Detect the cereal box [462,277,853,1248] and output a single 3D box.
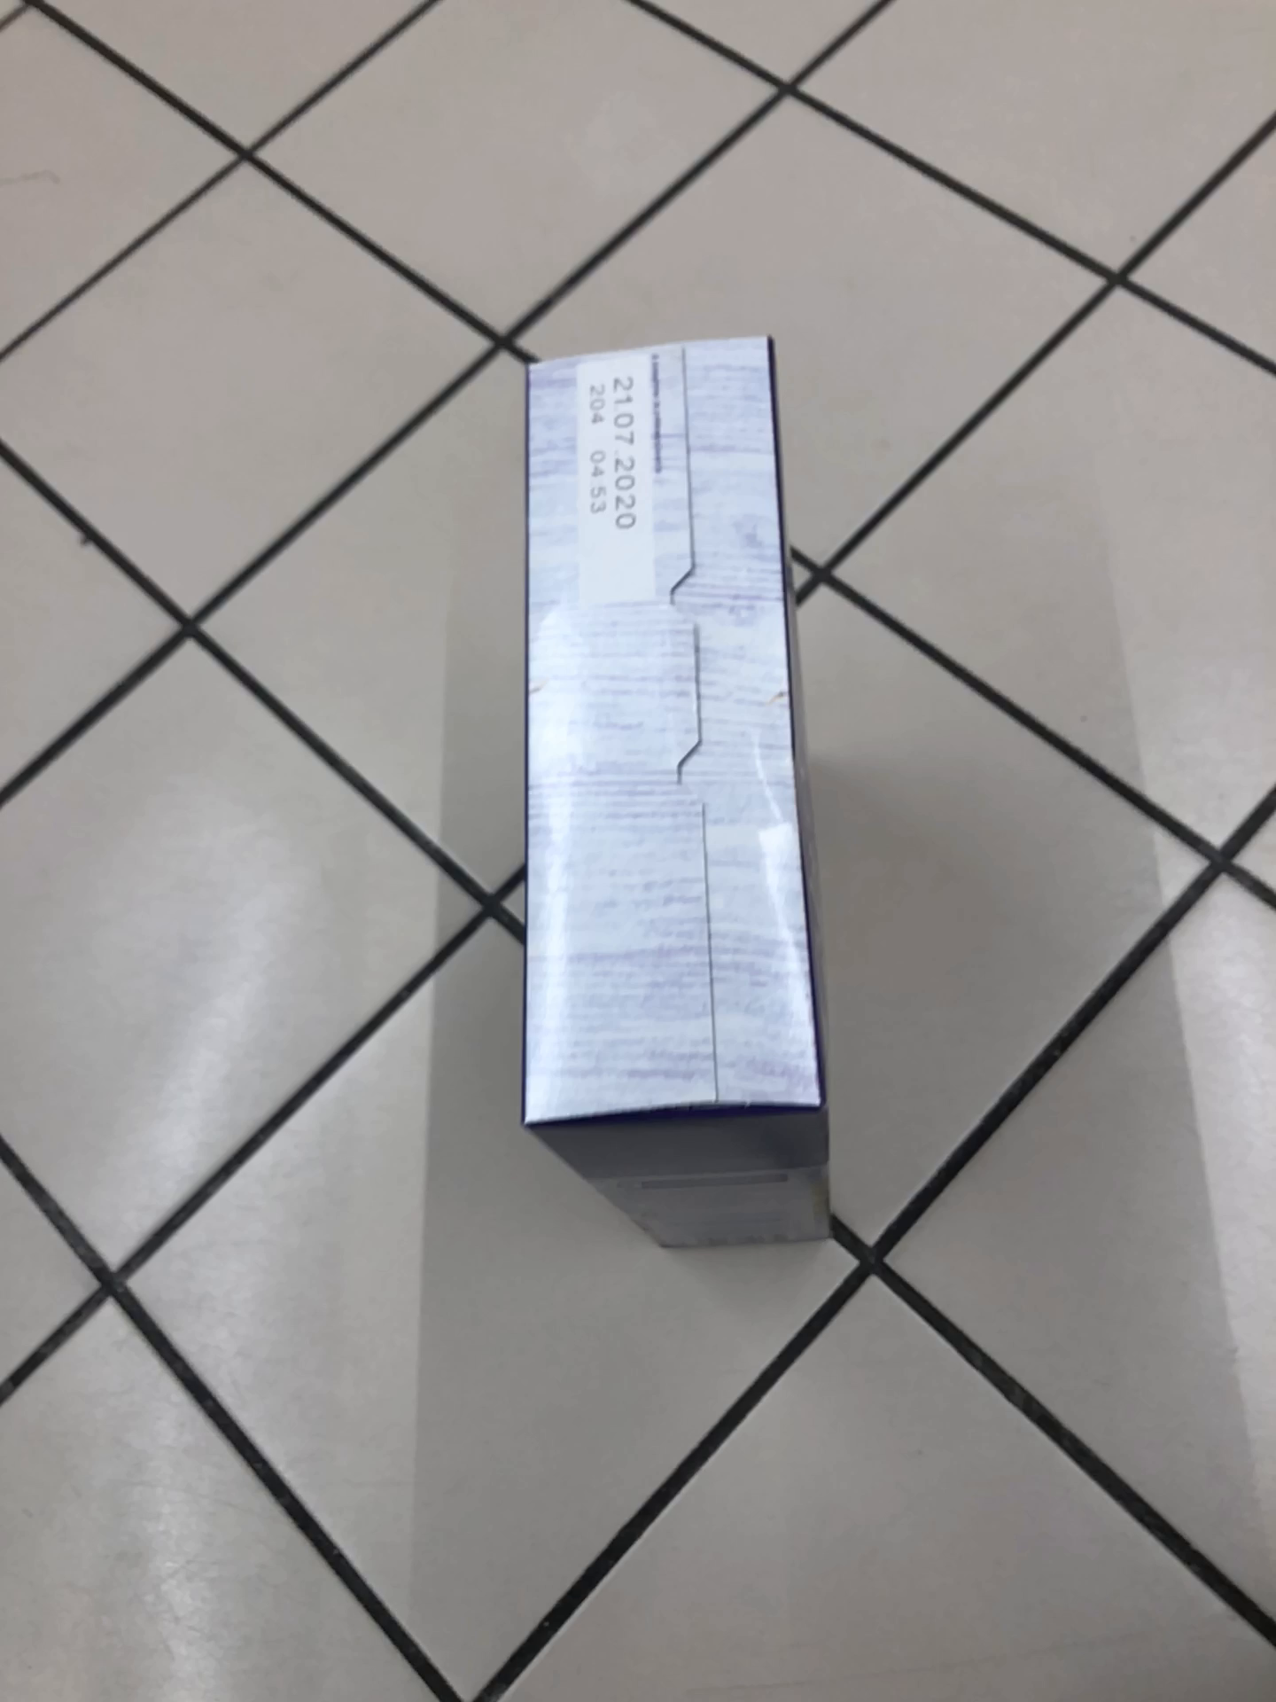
[{"bbox_3d":[0.018,0.001,0.446,0.080,0.259,0.211,-4,68,7],"label":"cereal box"}]
